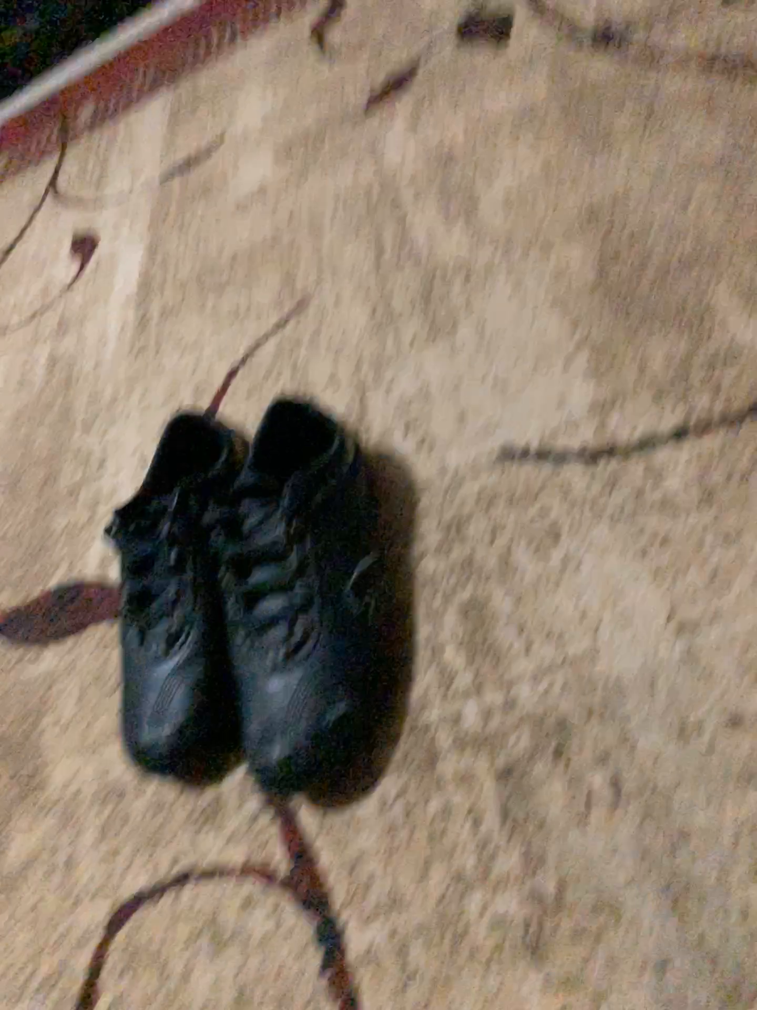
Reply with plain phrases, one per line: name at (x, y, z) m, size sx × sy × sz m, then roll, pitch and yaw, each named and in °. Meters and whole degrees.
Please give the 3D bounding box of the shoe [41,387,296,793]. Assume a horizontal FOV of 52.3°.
shoe at (-0.122, 0.047, 0.498) m, size 0.086 × 0.073 × 0.244 m, roll -14°, pitch 50°, yaw 21°

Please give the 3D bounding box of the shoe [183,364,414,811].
shoe at (-0.041, 0.038, 0.455) m, size 0.088 × 0.073 × 0.244 m, roll -17°, pitch 49°, yaw 18°
